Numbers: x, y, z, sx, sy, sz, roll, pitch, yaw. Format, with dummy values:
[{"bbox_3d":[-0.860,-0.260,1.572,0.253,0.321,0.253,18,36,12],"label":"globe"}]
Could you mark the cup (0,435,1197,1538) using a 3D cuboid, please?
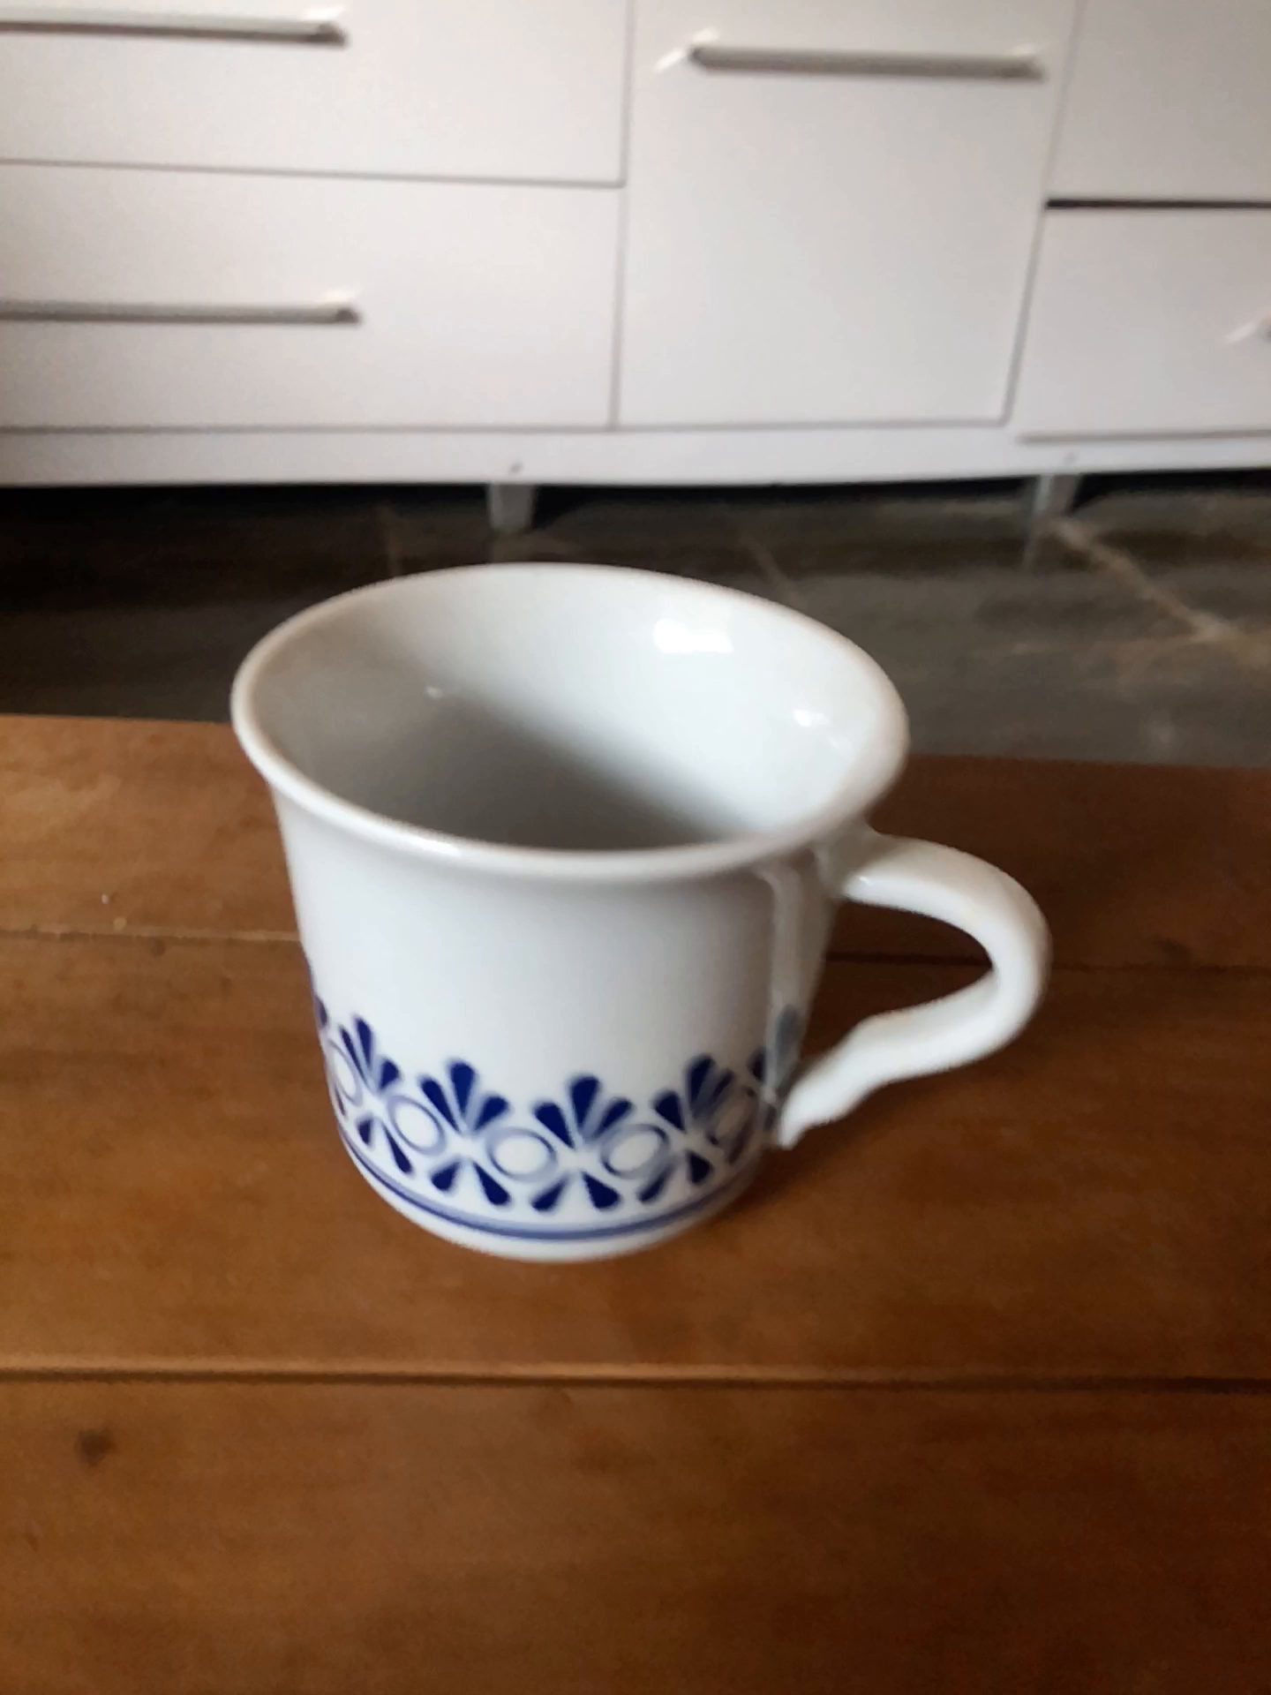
[{"bbox_3d":[-0.002,0.005,0.197,0.130,0.079,0.101,14,33,16],"label":"cup"}]
